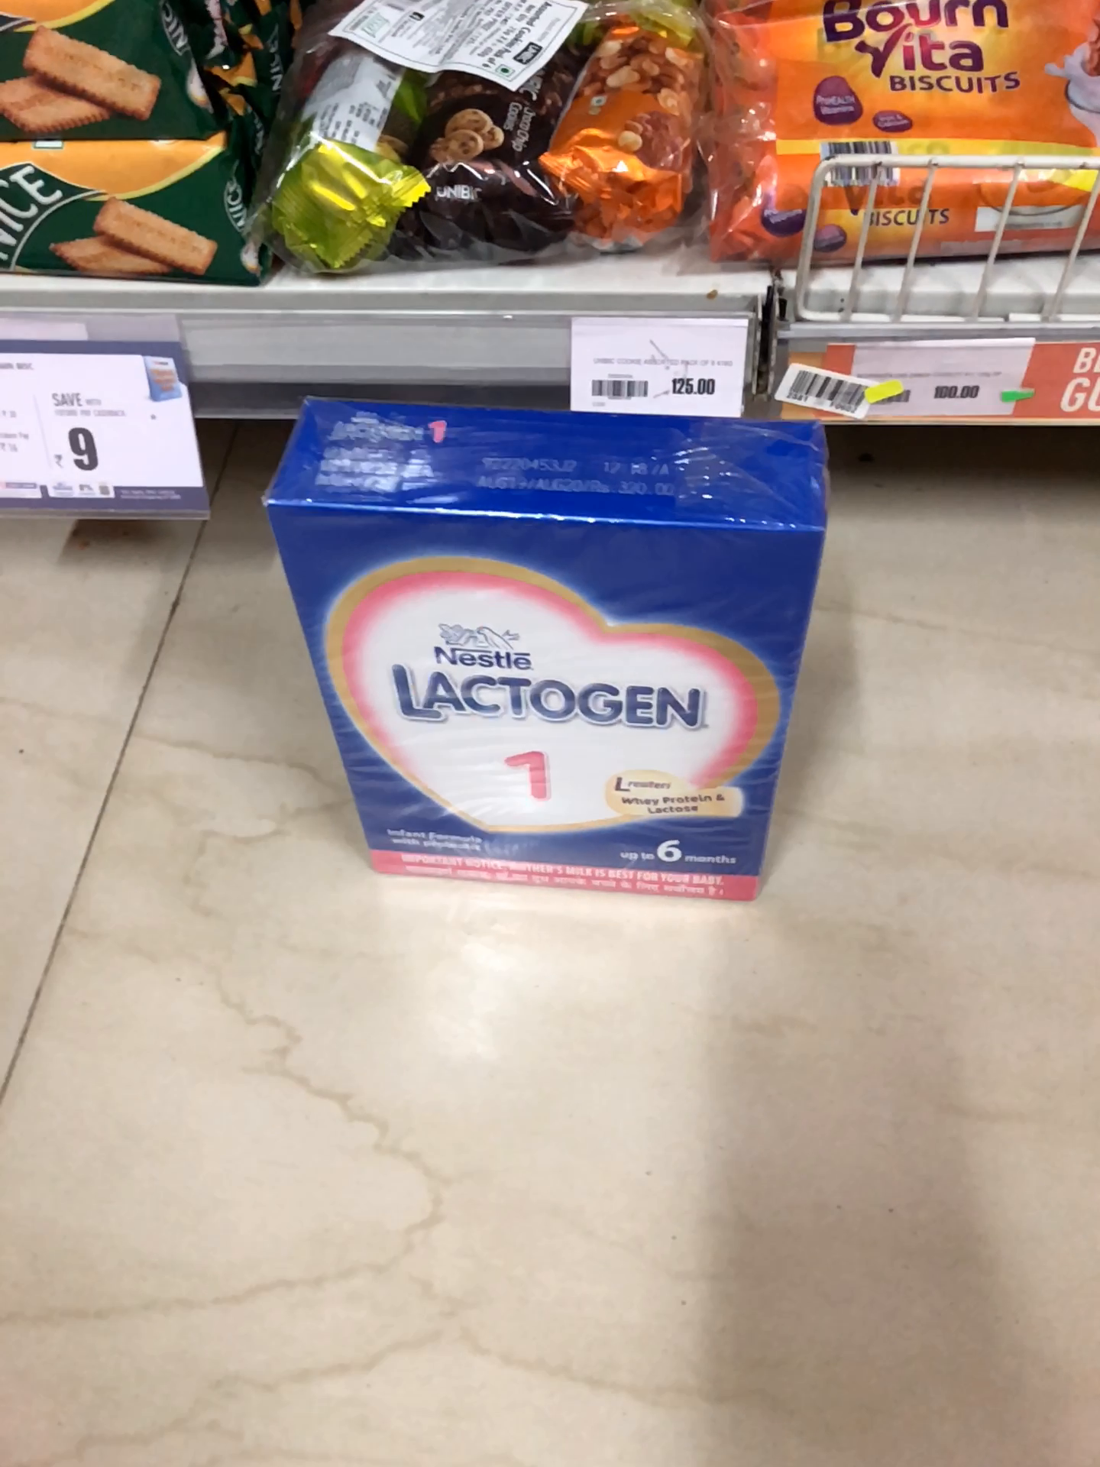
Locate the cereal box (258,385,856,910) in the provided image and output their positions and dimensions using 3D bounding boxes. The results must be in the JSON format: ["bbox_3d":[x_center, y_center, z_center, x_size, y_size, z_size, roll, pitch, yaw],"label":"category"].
[{"bbox_3d":[0.006,-0.016,0.394,0.150,0.189,0.050,4,54,5],"label":"cereal box"}]
